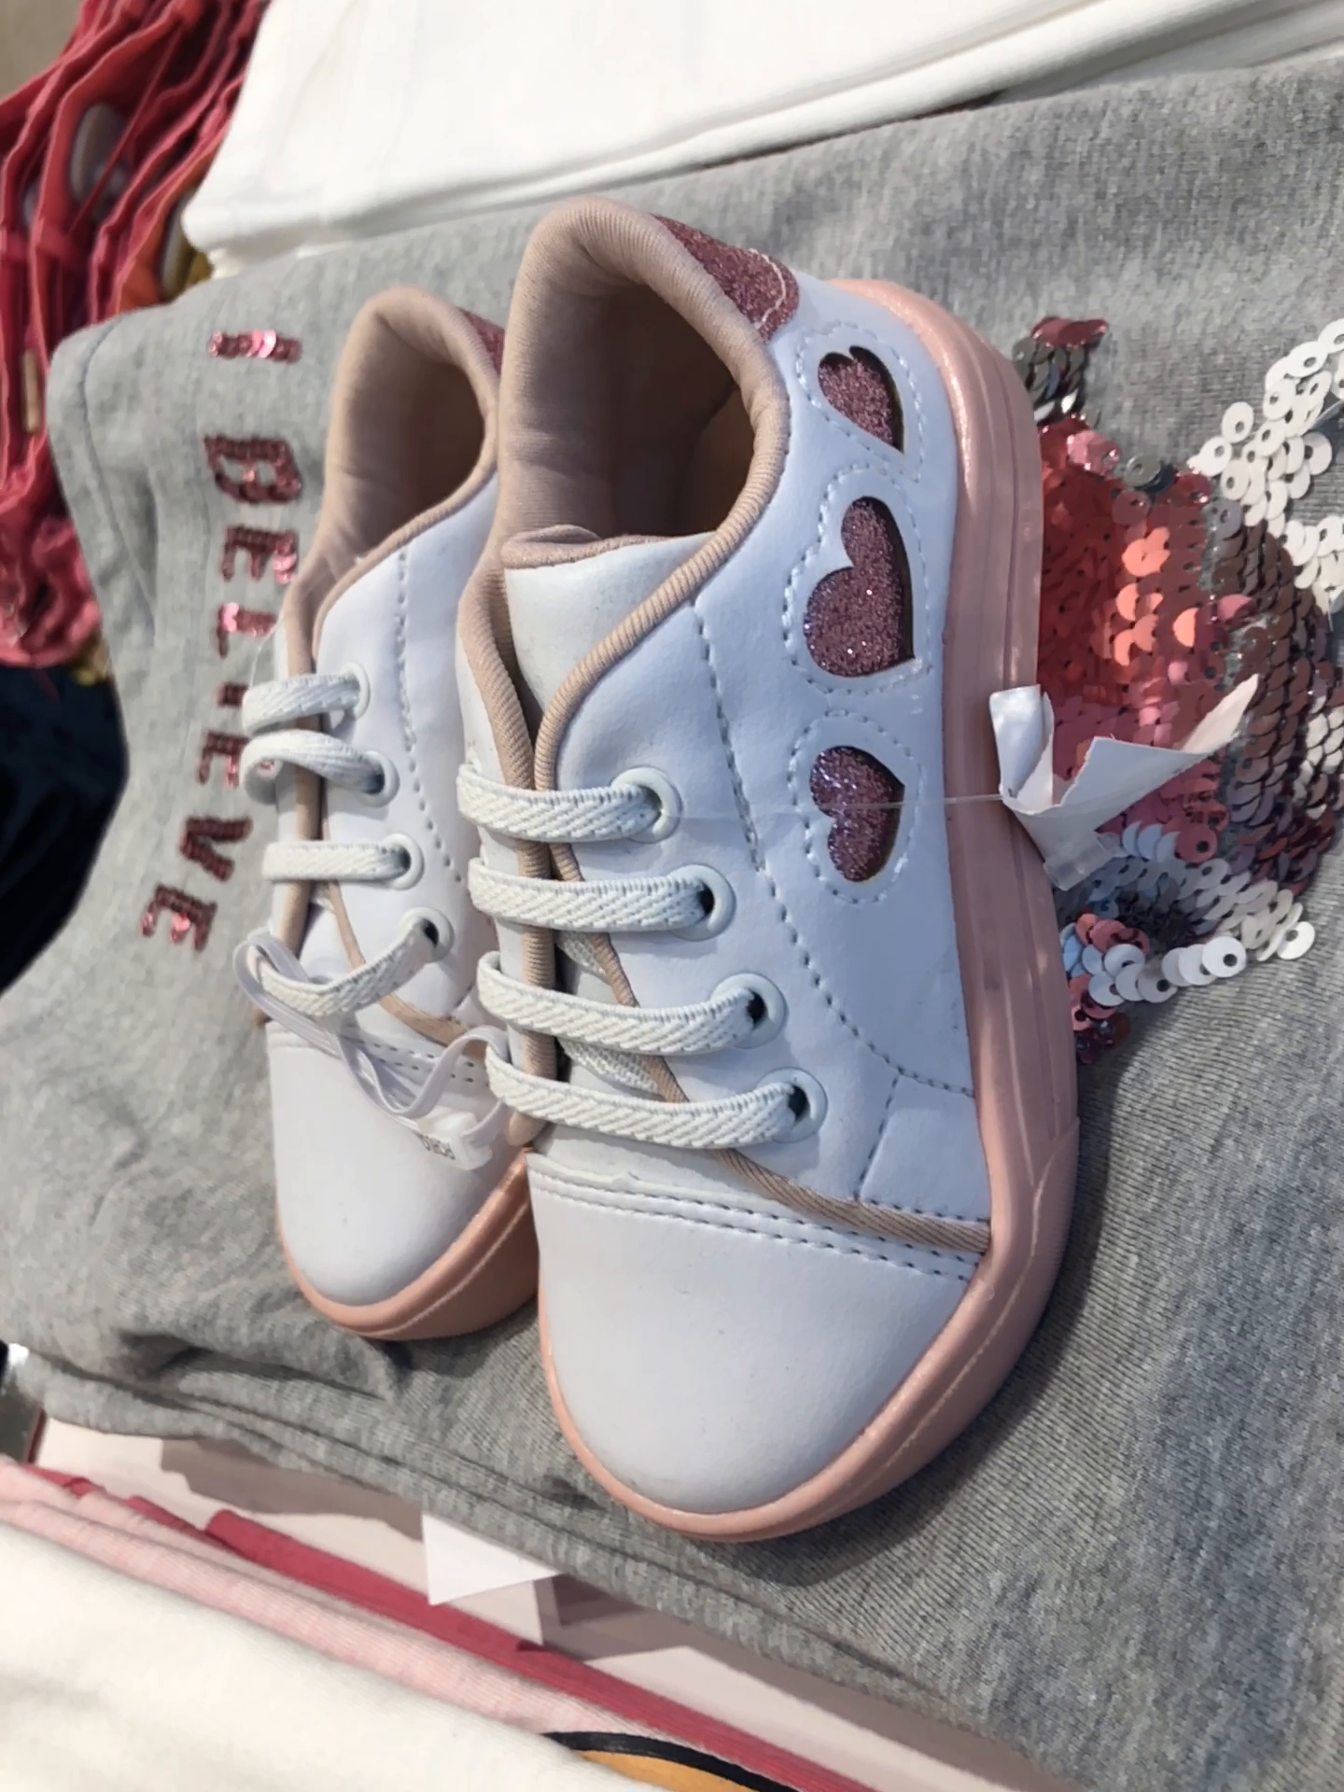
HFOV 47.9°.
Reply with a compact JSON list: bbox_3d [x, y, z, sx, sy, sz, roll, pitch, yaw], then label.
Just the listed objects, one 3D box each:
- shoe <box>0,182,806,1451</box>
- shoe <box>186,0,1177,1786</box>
[{"bbox_3d":[-0.038,-0.010,0.226,0.070,0.070,0.150,8,89,36],"label":"shoe"},{"bbox_3d":[0.007,-0.004,0.169,0.070,0.070,0.150,1,82,34],"label":"shoe"}]
